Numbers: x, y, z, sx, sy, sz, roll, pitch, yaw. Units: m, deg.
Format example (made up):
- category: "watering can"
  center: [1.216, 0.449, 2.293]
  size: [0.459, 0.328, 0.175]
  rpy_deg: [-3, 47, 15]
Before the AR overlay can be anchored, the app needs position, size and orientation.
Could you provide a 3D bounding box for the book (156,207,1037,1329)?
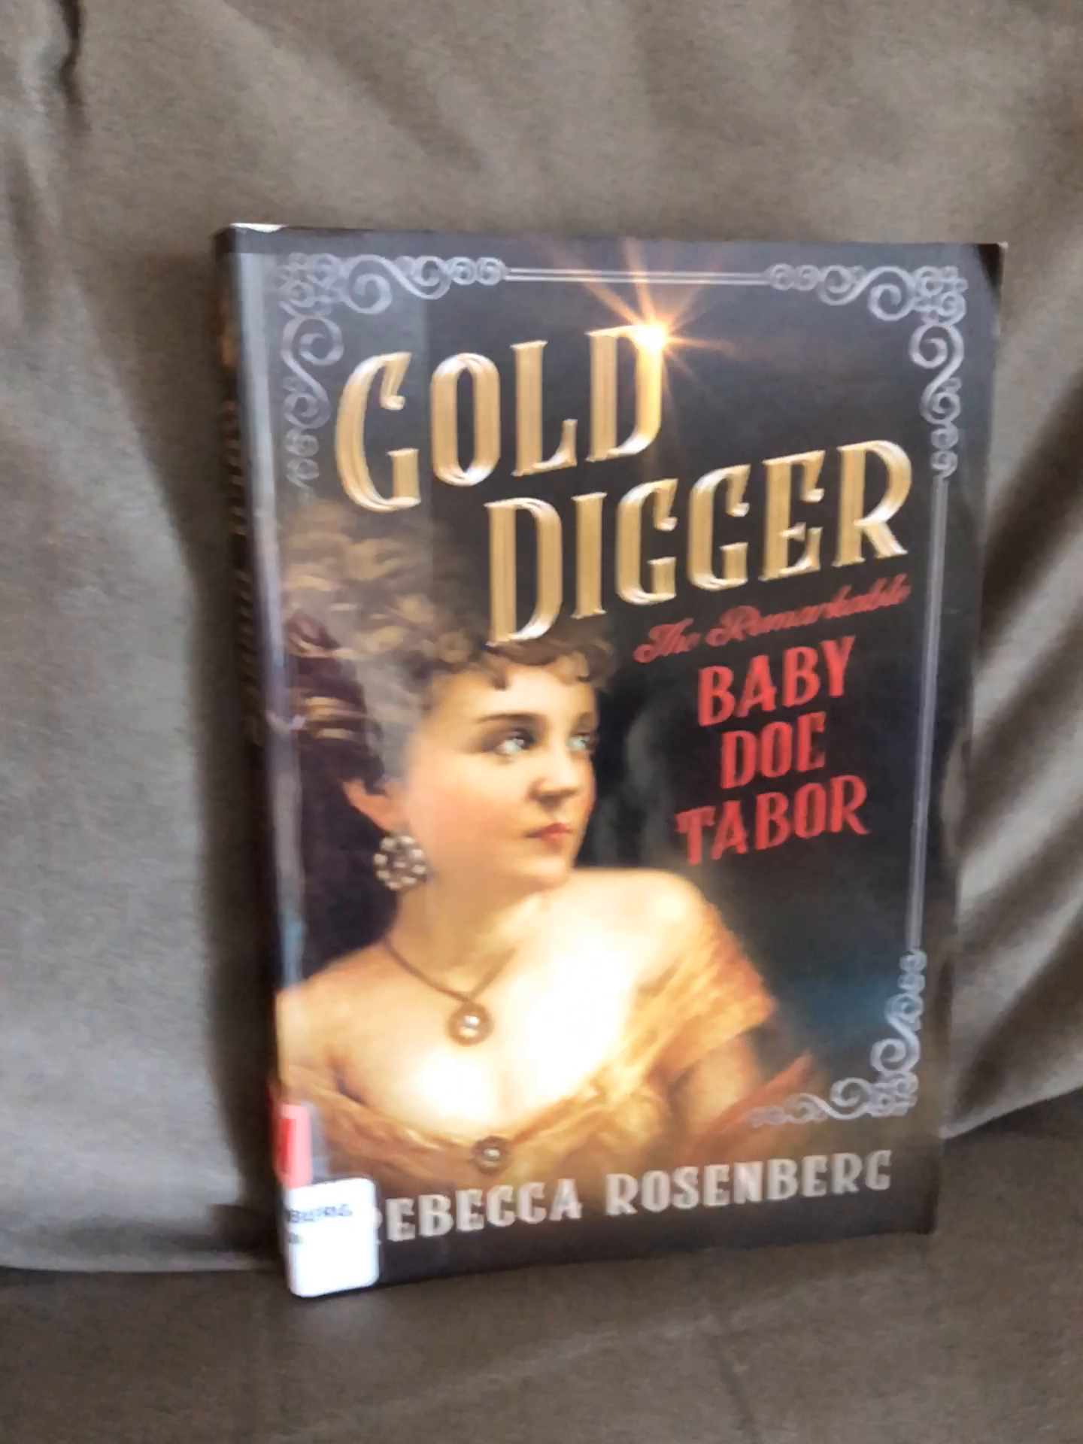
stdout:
- category: "book"
  center: [0.014, 0.009, 0.236]
  size: [0.150, 0.200, 0.030]
  rpy_deg: [-3, 10, -7]
